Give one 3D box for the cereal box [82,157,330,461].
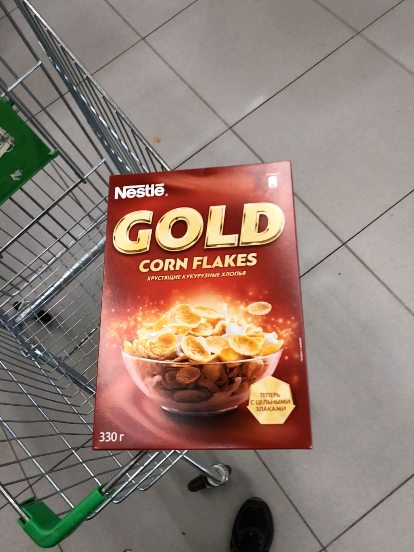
[{"bbox_3d":[-0.001,0.030,0.453,0.210,0.060,0.280,-3,71,9],"label":"cereal box"}]
